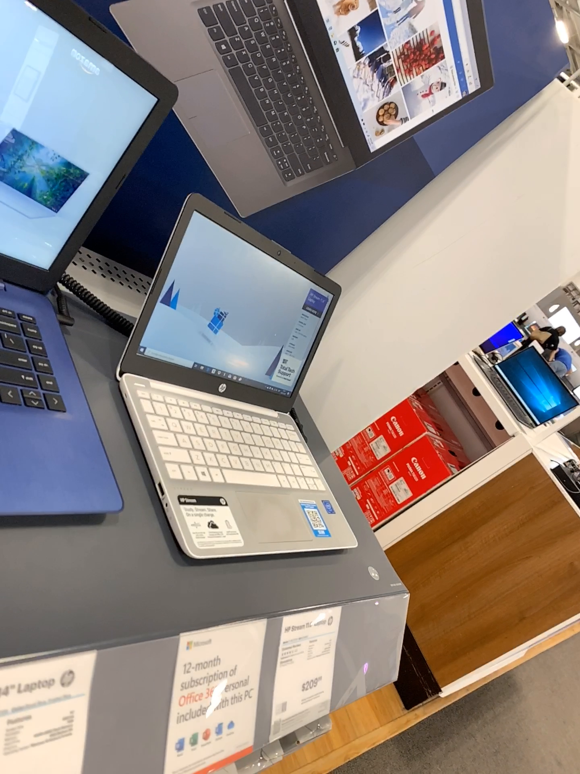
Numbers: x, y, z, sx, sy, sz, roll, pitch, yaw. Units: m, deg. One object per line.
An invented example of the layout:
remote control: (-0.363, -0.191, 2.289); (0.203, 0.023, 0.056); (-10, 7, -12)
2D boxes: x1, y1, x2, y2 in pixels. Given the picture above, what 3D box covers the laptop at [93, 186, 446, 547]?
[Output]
laptop: (-0.013, -0.005, 0.605); (0.267, 0.144, 0.274); (18, 38, -56)
